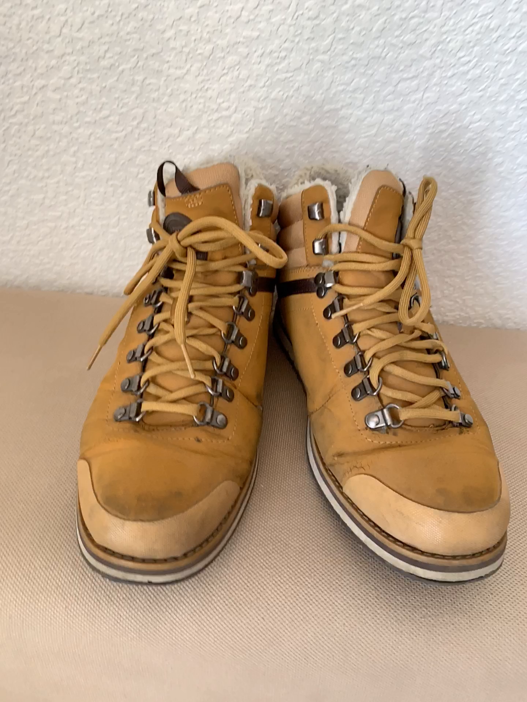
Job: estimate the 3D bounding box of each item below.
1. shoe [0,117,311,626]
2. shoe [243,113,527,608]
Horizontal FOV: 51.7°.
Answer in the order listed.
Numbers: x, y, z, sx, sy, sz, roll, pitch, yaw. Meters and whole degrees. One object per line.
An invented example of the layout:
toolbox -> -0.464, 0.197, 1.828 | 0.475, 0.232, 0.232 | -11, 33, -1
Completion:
shoe -> -0.047, -0.023, 0.342 | 0.120, 0.149, 0.301 | 7, 38, 4
shoe -> 0.072, -0.028, 0.351 | 0.120, 0.149, 0.302 | -5, 41, -10
